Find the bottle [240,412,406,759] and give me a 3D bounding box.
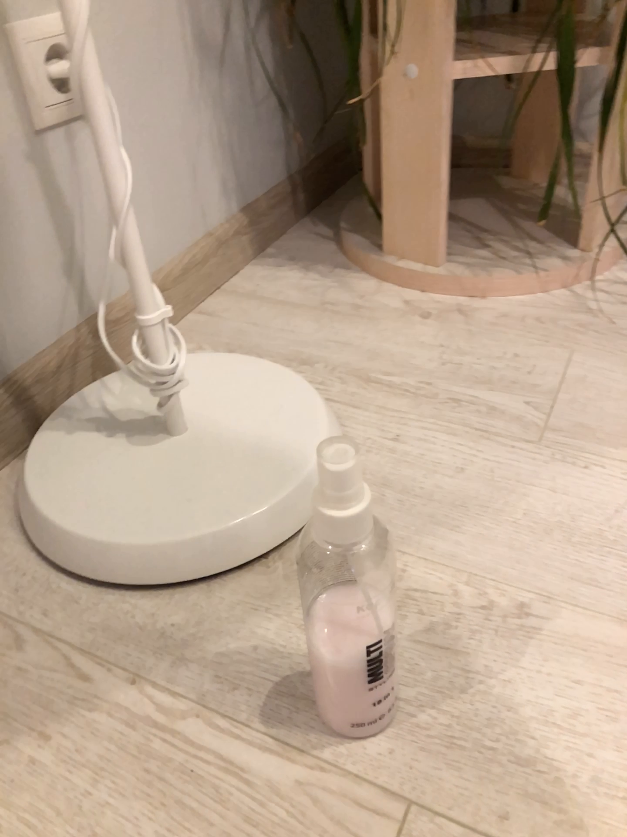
[{"bbox_3d":[0.012,0.090,0.348,0.054,0.183,0.049,13,40,25],"label":"bottle"}]
